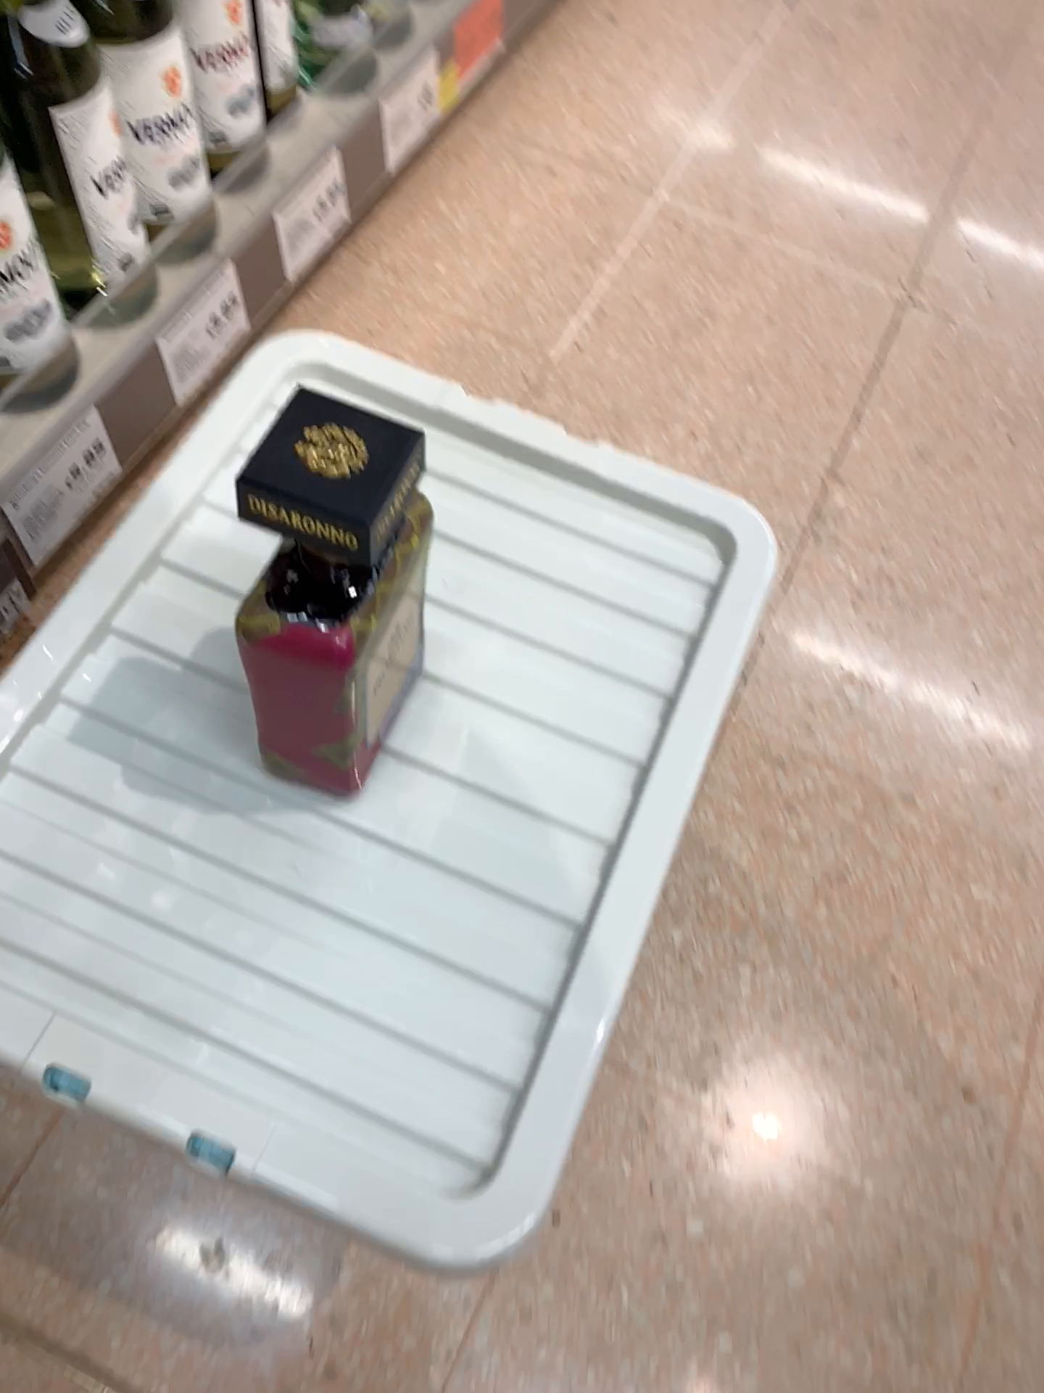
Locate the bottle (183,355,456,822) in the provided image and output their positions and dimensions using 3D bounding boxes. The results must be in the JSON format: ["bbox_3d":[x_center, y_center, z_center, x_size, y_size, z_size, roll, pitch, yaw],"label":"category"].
[{"bbox_3d":[-0.082,-0.035,0.473,0.060,0.199,0.101,21,61,4],"label":"bottle"}]
